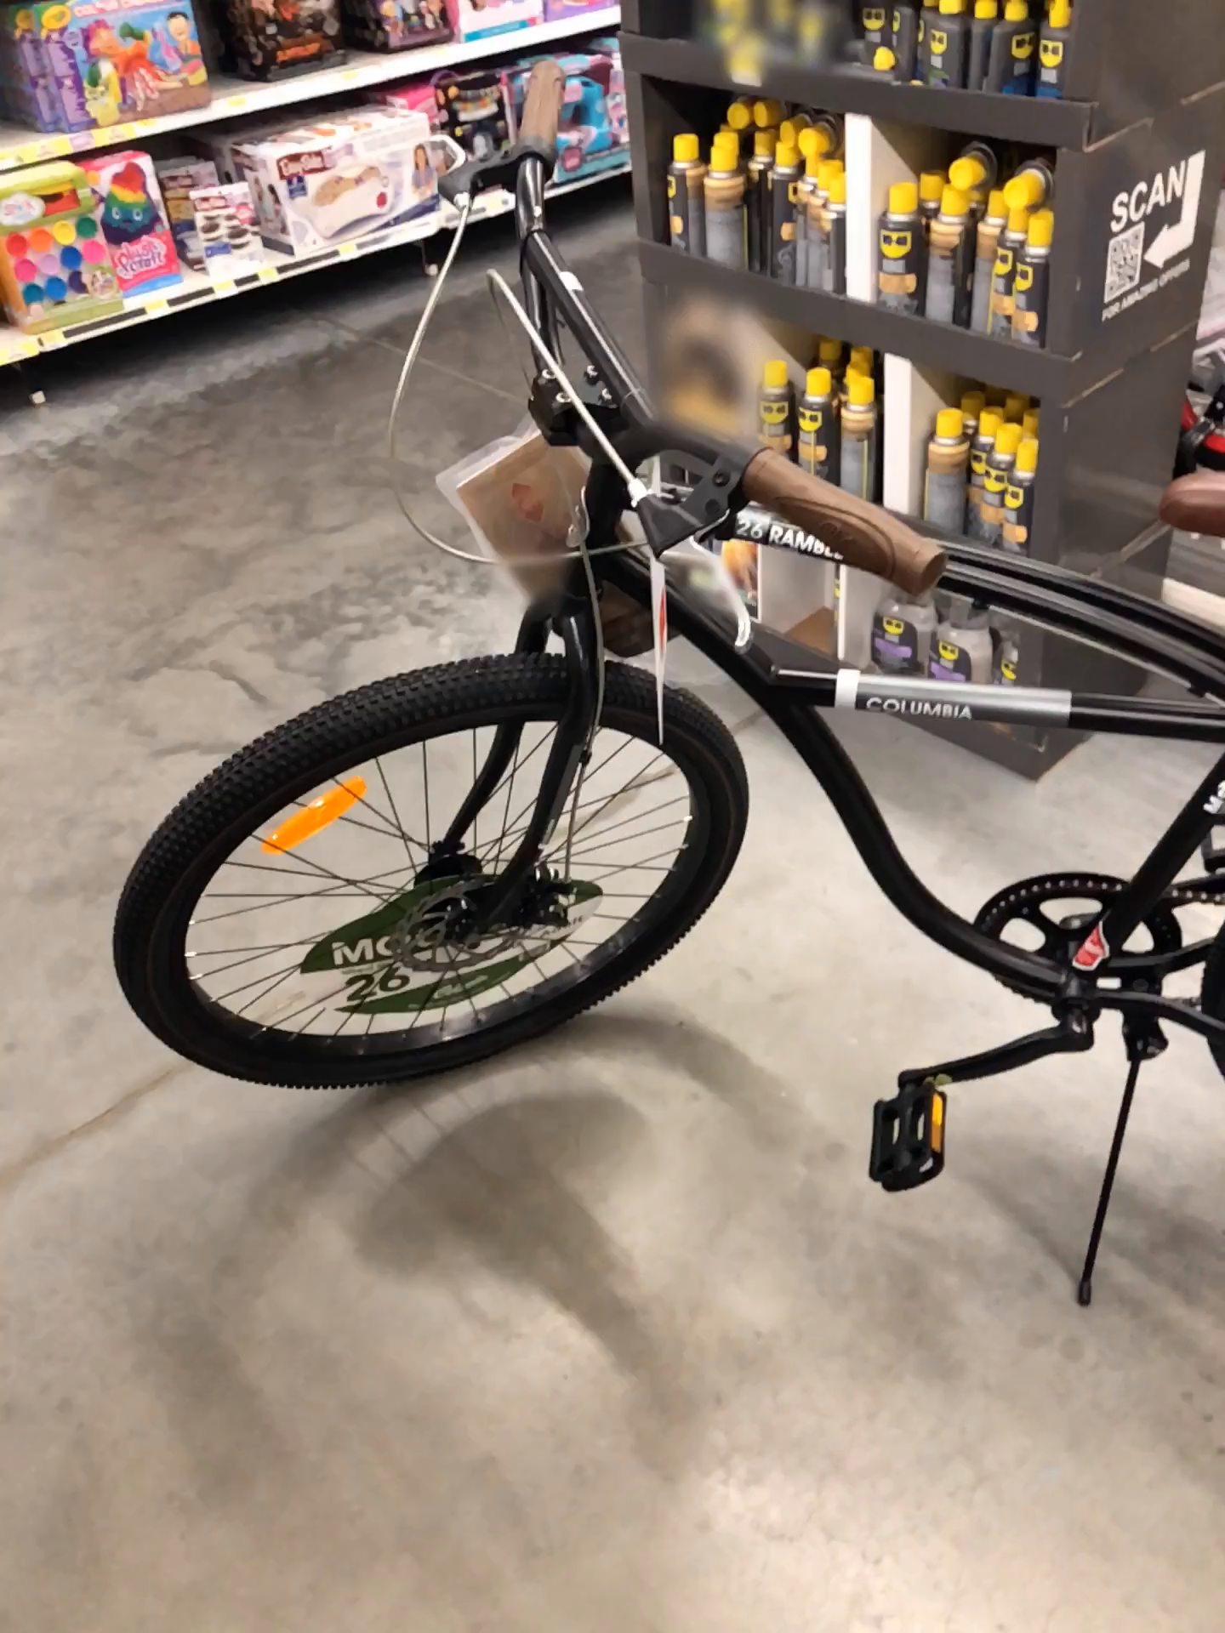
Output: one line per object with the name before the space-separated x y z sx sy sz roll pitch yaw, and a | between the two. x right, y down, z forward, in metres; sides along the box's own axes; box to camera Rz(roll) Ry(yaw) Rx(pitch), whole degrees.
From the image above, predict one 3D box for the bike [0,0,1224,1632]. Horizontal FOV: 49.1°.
bike | 0.346 -0.004 0.959 1.582 0.975 0.656 5 40 5
